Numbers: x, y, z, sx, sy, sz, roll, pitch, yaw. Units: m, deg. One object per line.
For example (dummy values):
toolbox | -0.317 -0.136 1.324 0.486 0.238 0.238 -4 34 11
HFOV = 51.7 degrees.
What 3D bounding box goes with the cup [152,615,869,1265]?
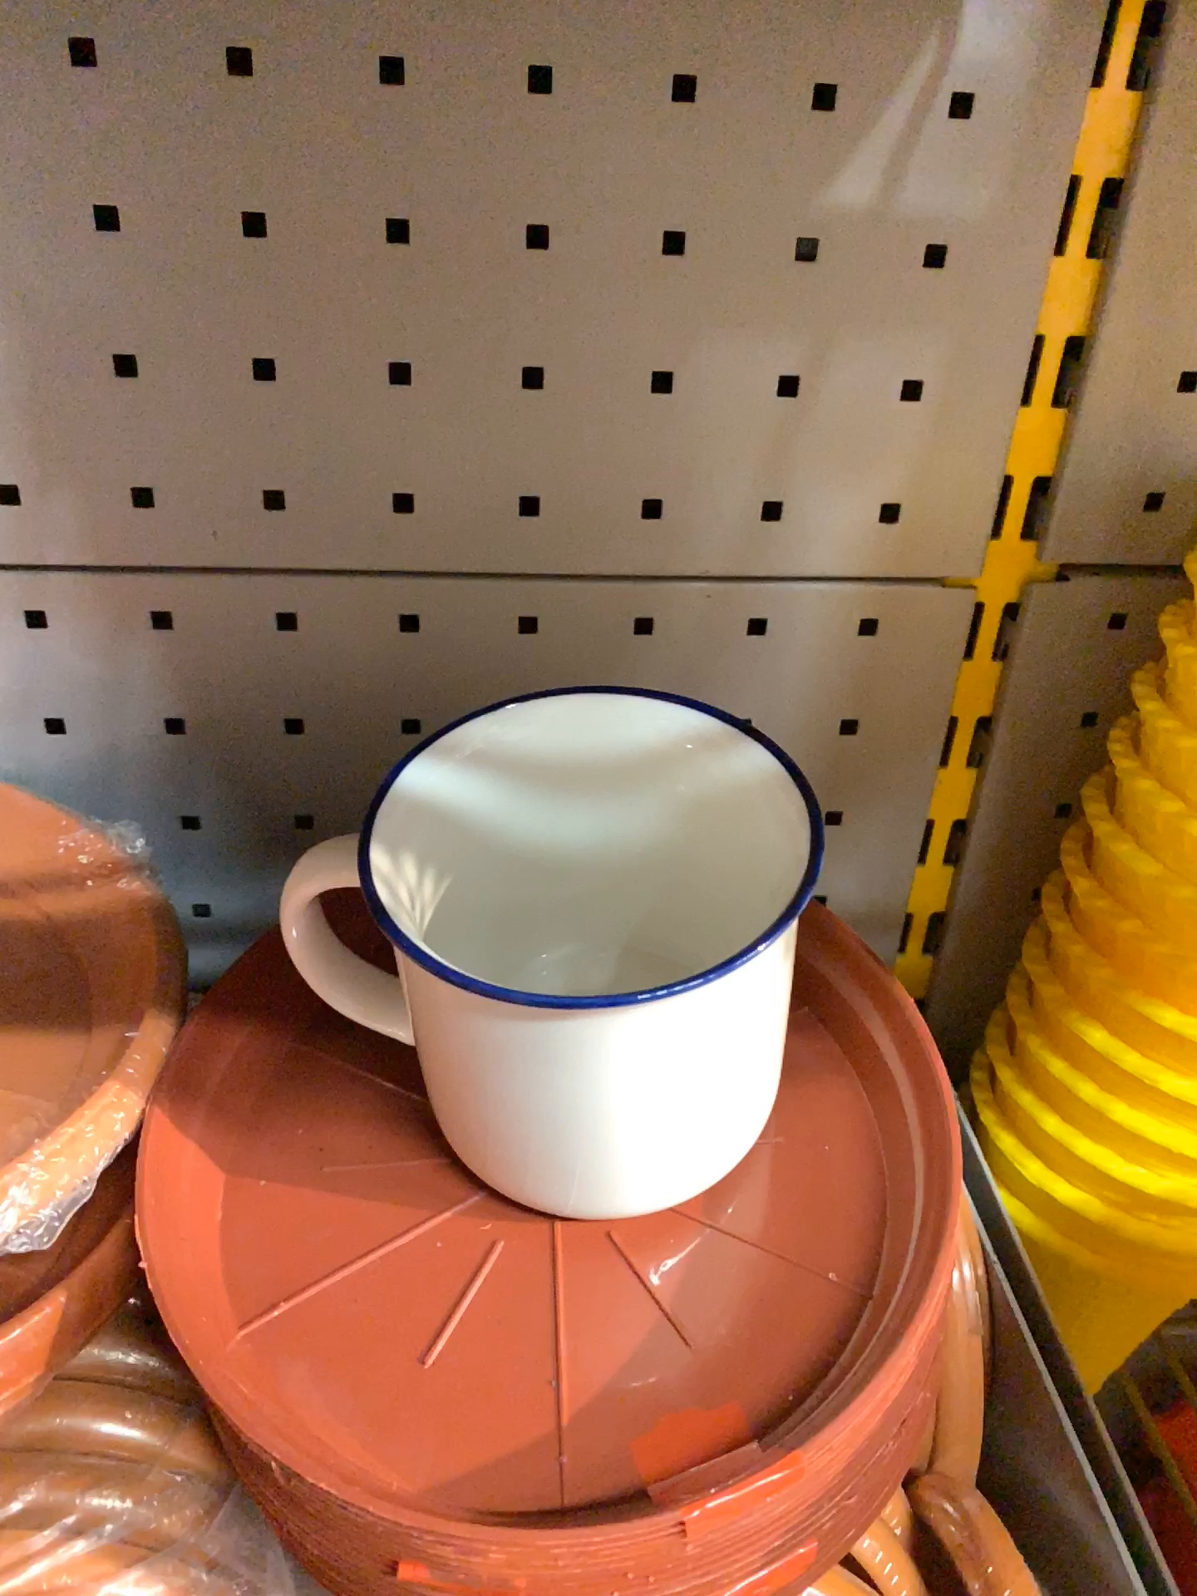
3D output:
cup | -0.011 0.029 0.267 0.120 0.090 0.090 6 44 5
